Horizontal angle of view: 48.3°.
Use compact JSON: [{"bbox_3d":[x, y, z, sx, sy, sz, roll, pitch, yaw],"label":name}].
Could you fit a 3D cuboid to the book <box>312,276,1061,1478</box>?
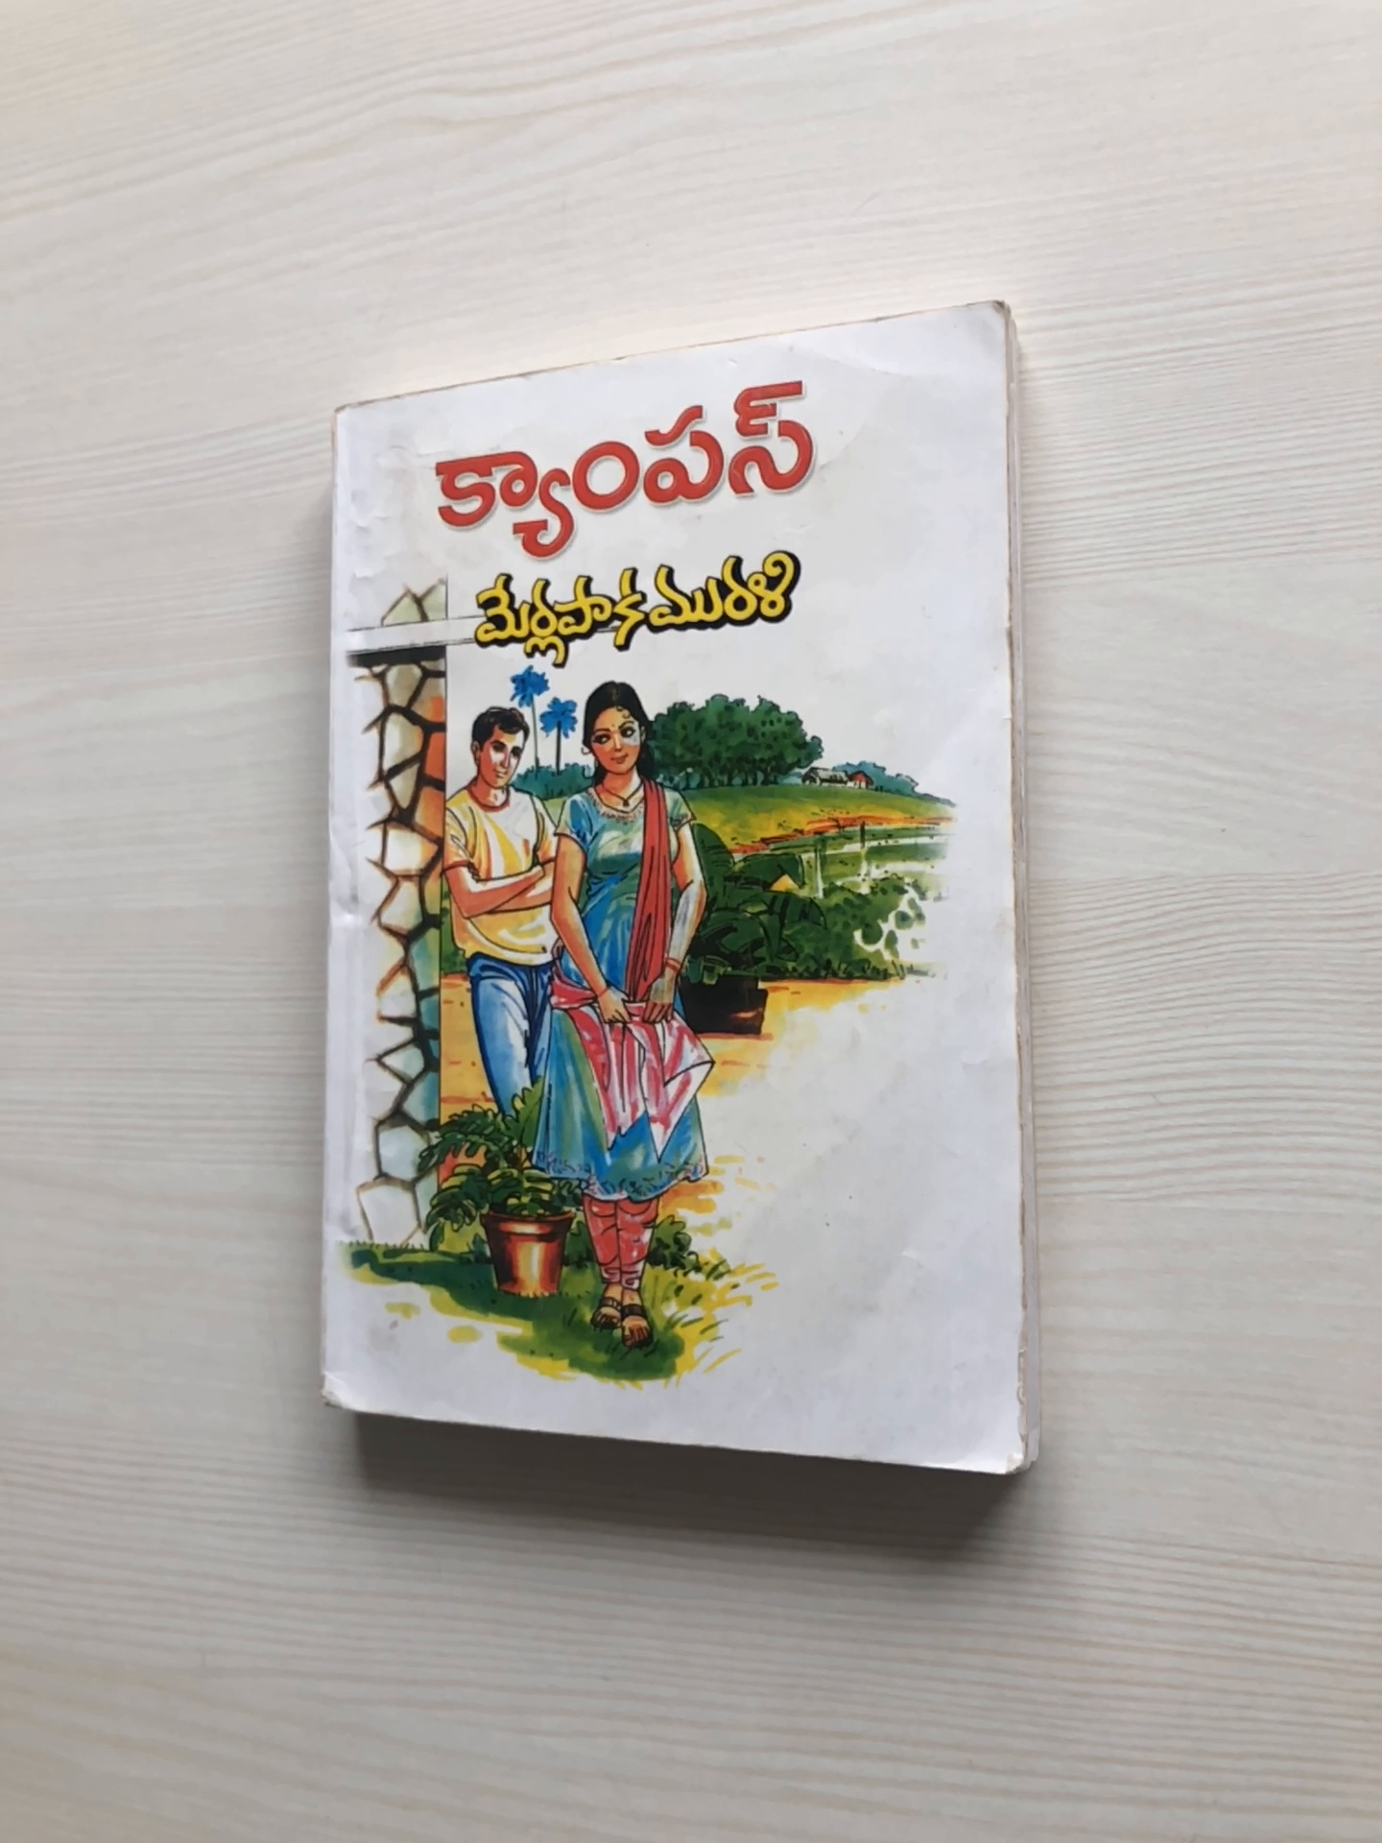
[{"bbox_3d":[-0.004,-0.006,0.235,0.113,0.016,0.163,-2,86,19],"label":"book"}]
